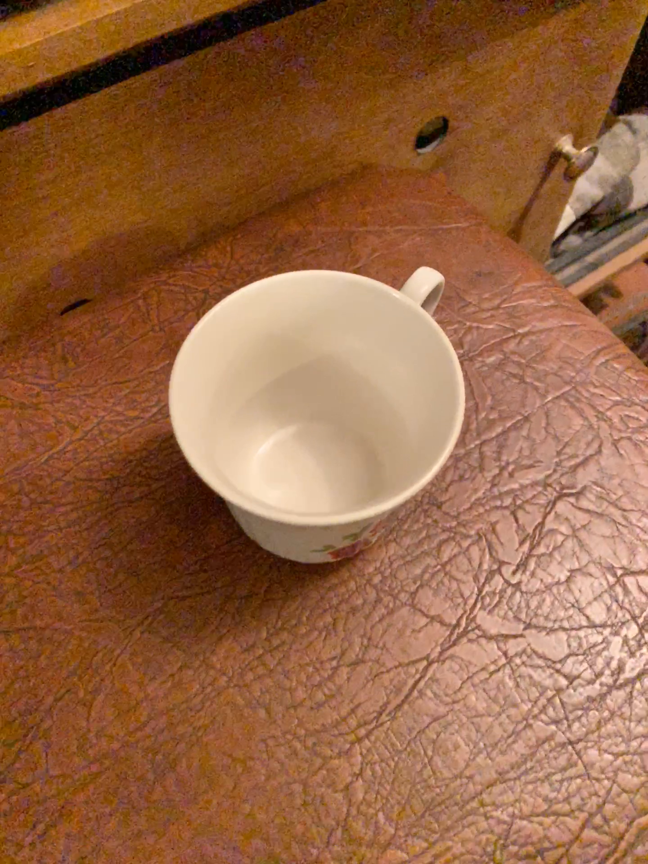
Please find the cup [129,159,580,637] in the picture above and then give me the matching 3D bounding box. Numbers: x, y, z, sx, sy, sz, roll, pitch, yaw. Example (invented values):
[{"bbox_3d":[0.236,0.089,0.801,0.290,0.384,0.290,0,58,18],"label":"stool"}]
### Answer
[{"bbox_3d":[0.013,-0.011,0.227,0.085,0.082,0.112,27,66,15],"label":"cup"}]
